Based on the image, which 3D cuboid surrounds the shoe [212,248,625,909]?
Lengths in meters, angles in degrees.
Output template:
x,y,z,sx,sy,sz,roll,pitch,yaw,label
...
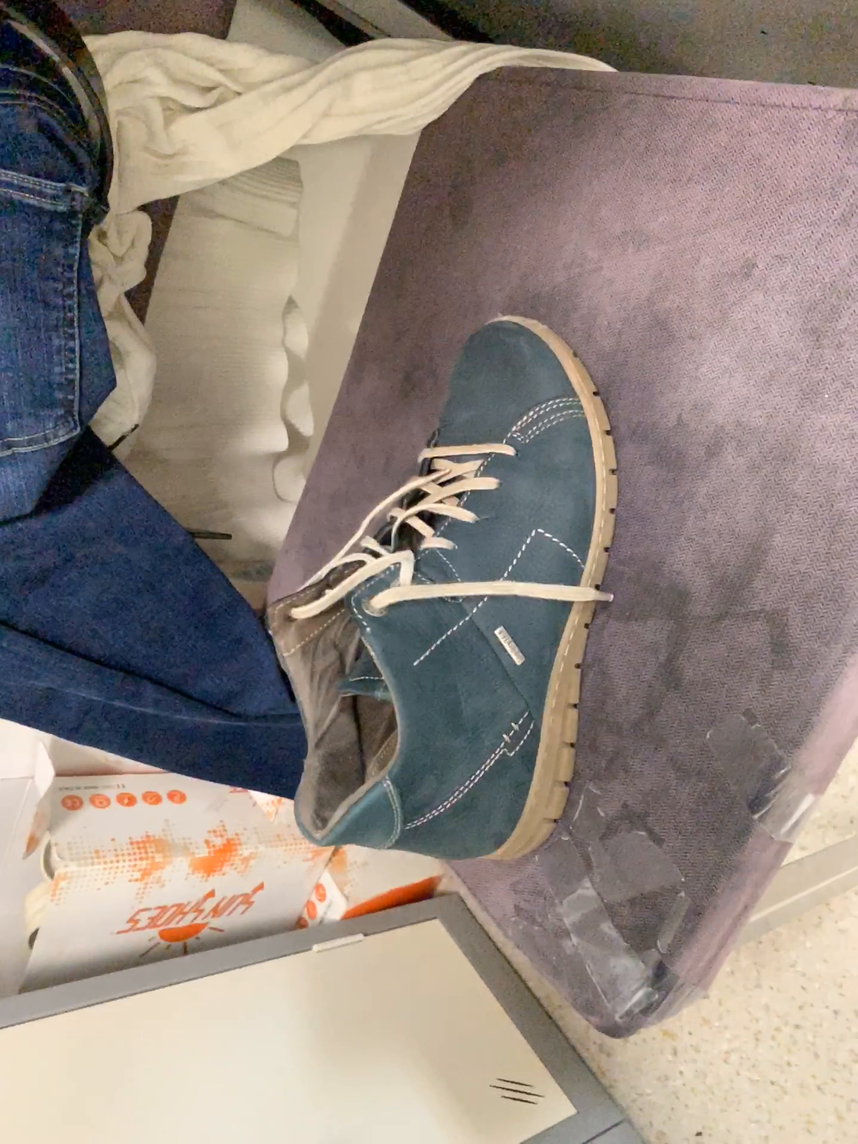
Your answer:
x,y,z,sx,sy,sz,roll,pitch,yaw,label
-0.001,0.005,0.410,0.104,0.142,0.244,1,86,48,shoe
